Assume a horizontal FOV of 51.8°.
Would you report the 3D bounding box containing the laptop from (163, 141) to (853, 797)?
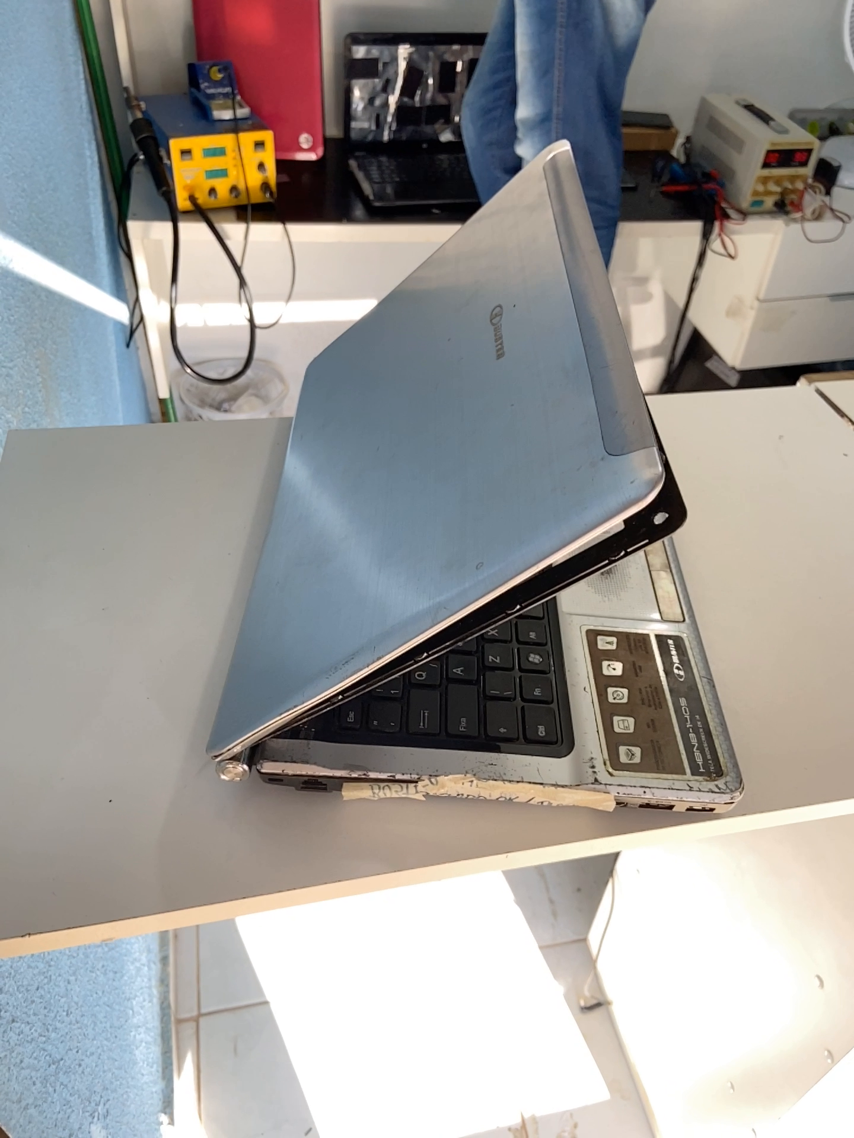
[{"bbox_3d":[0.032,-0.076,0.456,0.232,0.160,0.328,4,42,-2],"label":"laptop"}]
